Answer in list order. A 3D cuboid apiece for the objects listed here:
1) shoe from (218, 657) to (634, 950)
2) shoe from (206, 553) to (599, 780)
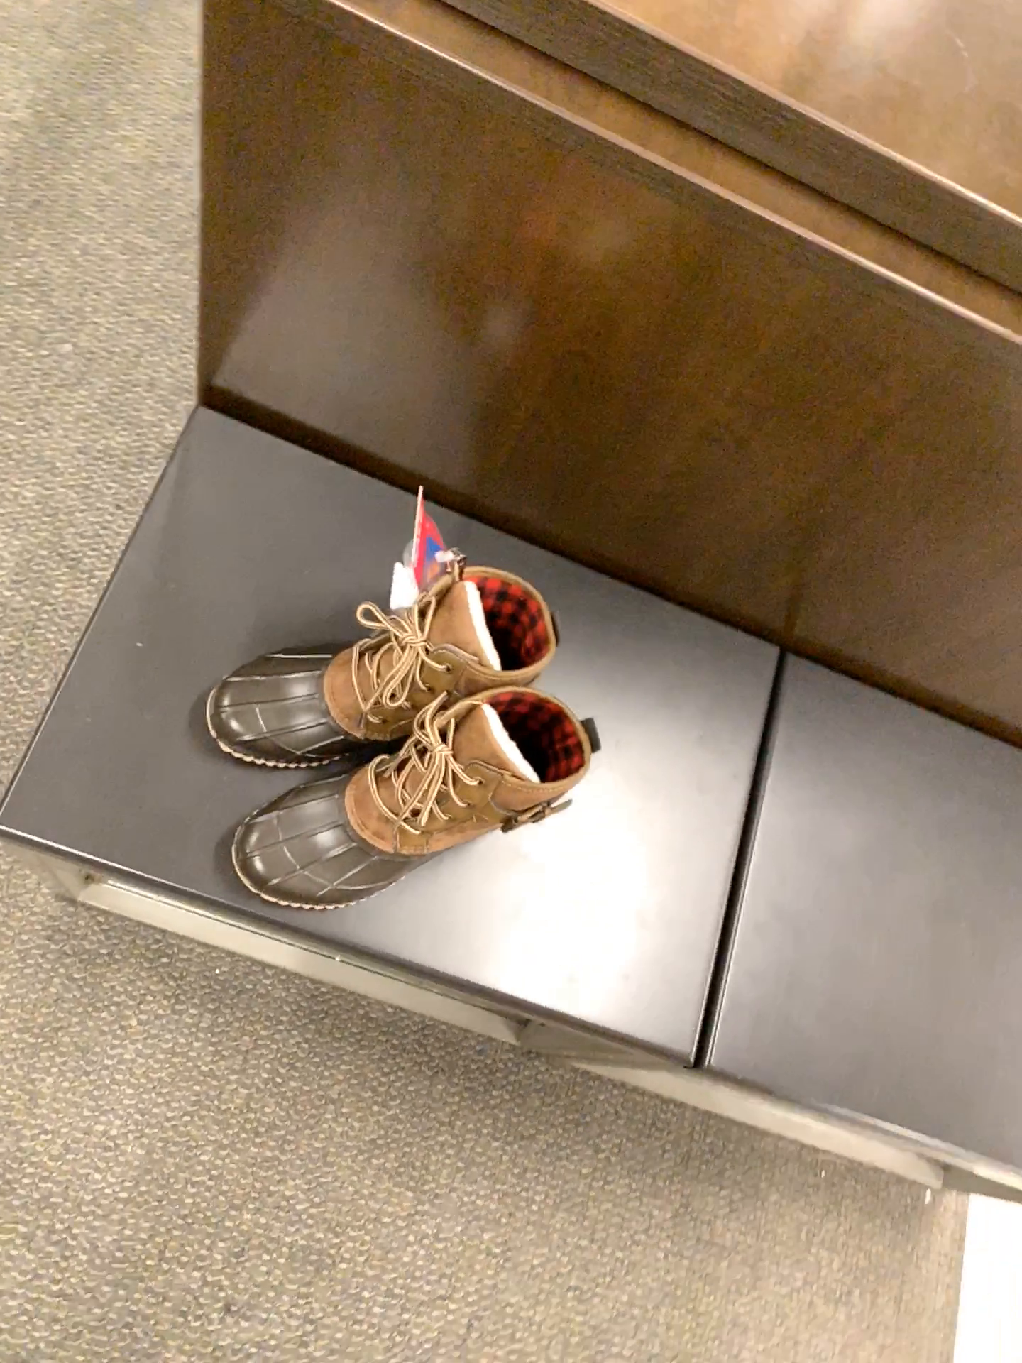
[{"bbox_3d":[-0.065,0.086,0.718,0.240,0.150,0.100,-18,79,-22],"label":"shoe"},{"bbox_3d":[-0.085,-0.008,0.737,0.240,0.150,0.100,-5,74,-19],"label":"shoe"}]
